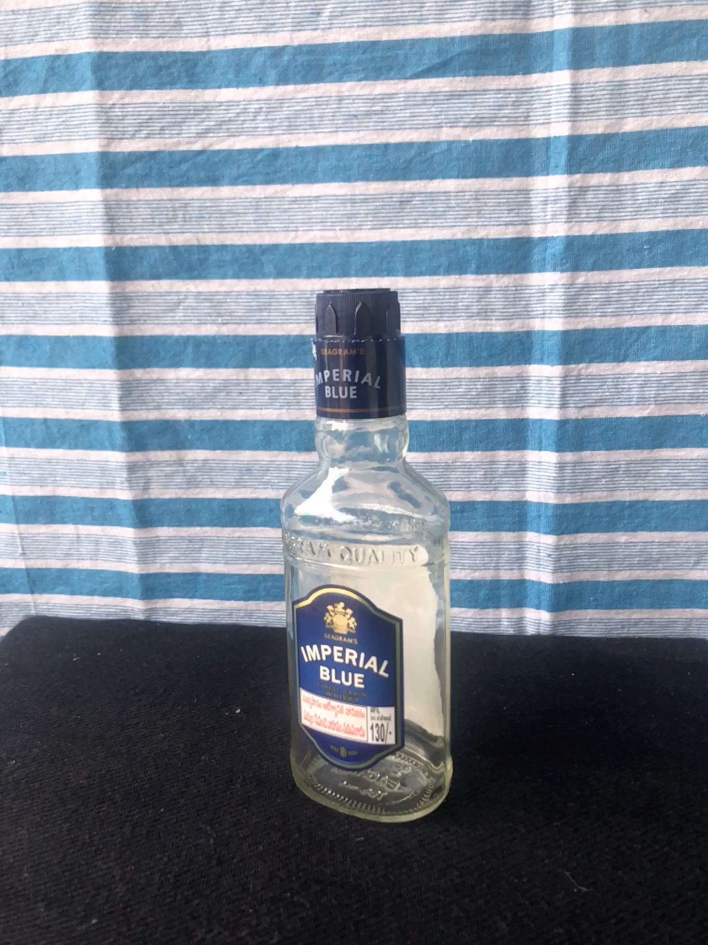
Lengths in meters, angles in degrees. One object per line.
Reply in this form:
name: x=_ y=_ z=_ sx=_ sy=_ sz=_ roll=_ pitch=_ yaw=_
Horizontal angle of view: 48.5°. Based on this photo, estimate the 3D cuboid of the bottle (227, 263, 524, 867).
bottle: x=0.007 y=0.023 z=0.245 sx=0.070 sy=0.169 sz=0.050 roll=7 pitch=16 yaw=25
